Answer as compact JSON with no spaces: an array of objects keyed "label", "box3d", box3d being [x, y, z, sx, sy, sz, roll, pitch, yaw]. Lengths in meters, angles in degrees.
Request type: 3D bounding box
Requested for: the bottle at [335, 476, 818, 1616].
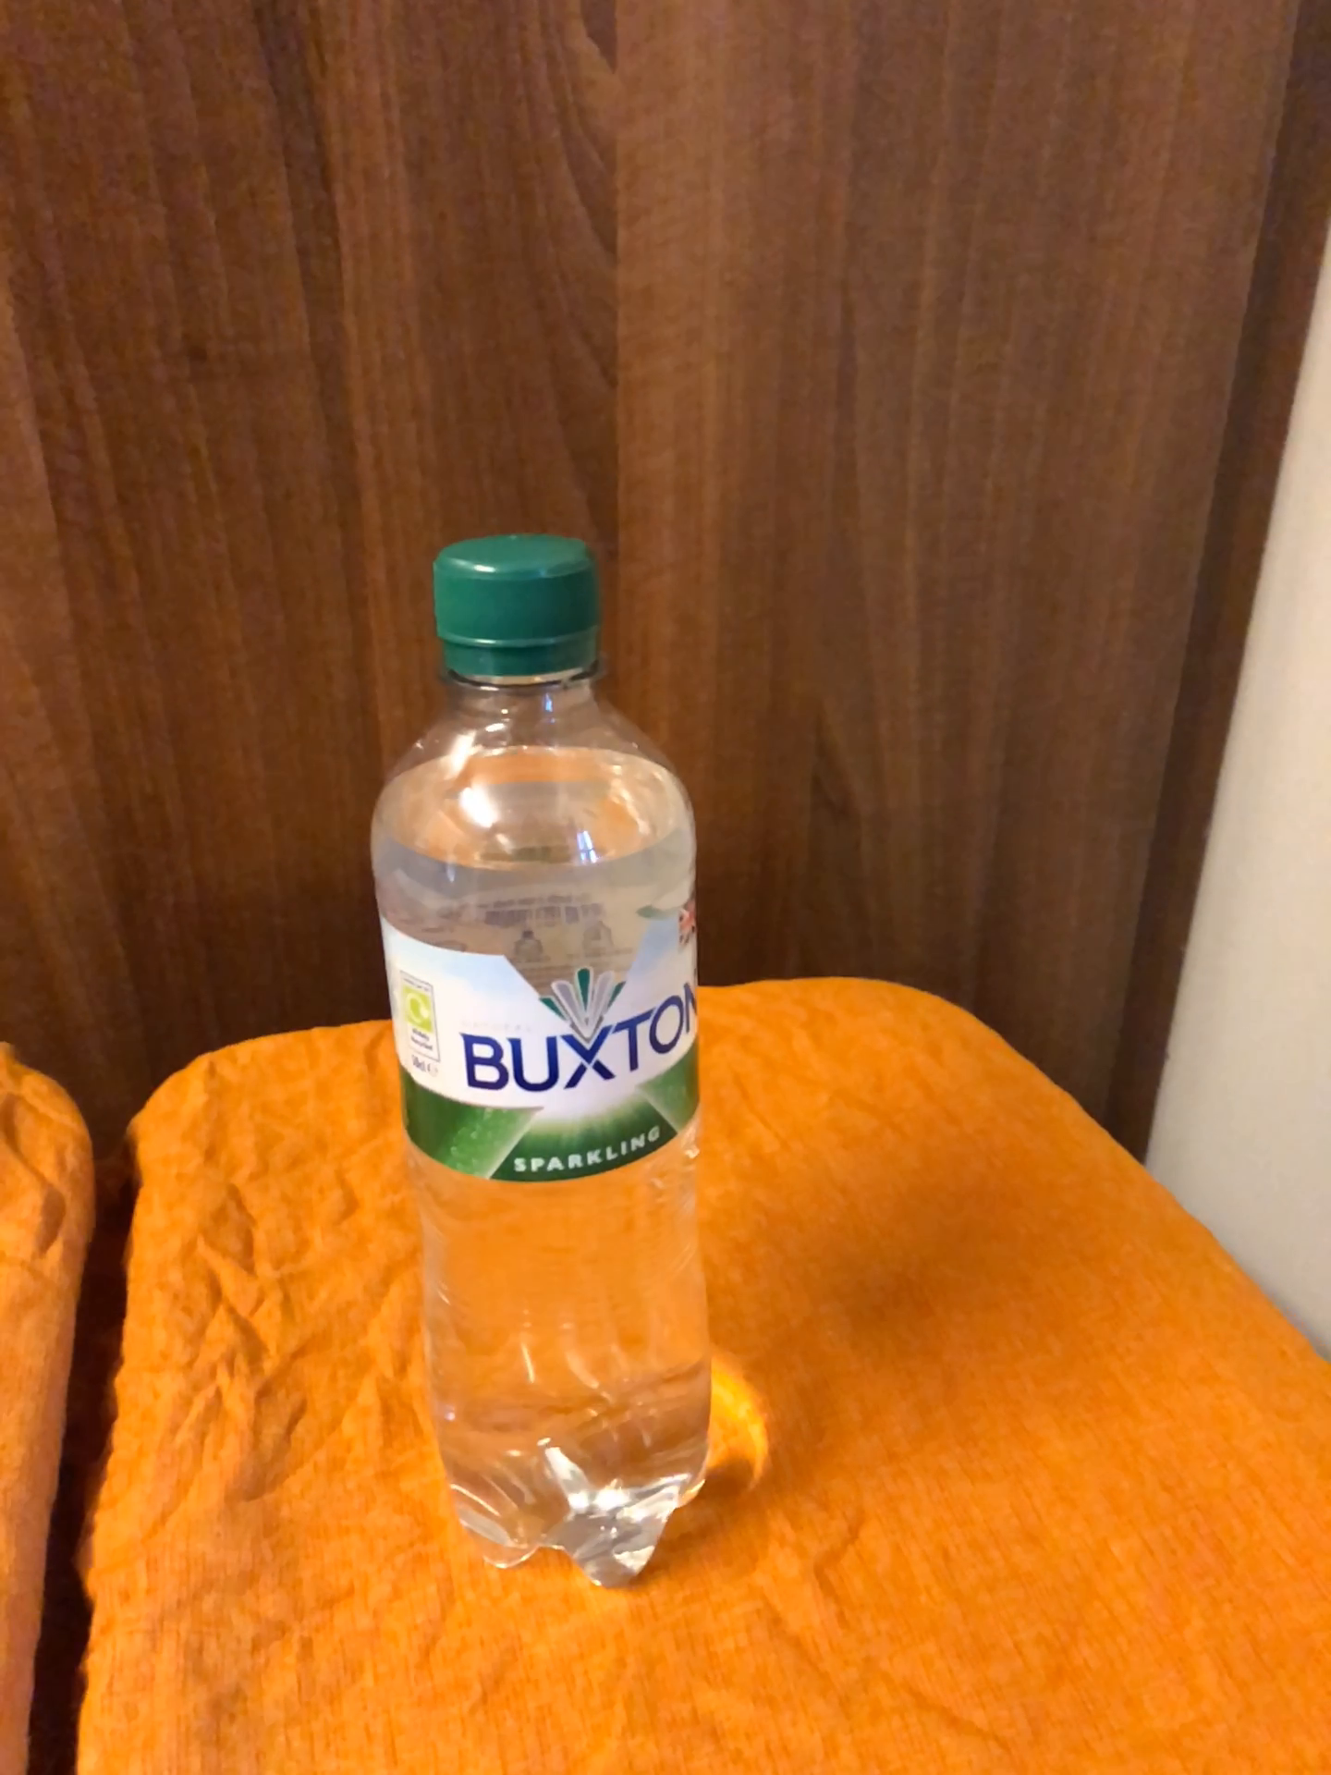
[{"label":"bottle","box3d":[-0.020,0.037,0.299,0.070,0.218,0.070,1,27,0]}]
